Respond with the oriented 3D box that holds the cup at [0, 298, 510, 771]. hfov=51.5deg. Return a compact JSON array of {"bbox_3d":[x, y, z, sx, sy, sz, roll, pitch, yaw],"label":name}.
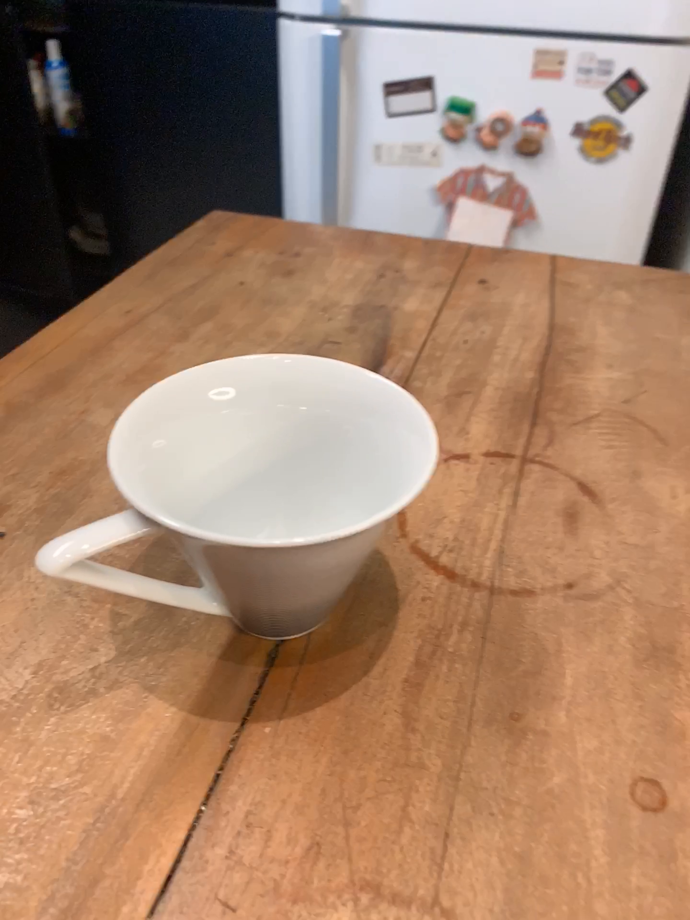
[{"bbox_3d":[-0.031,0.010,0.214,0.120,0.060,0.090,-21,43,-26],"label":"cup"}]
